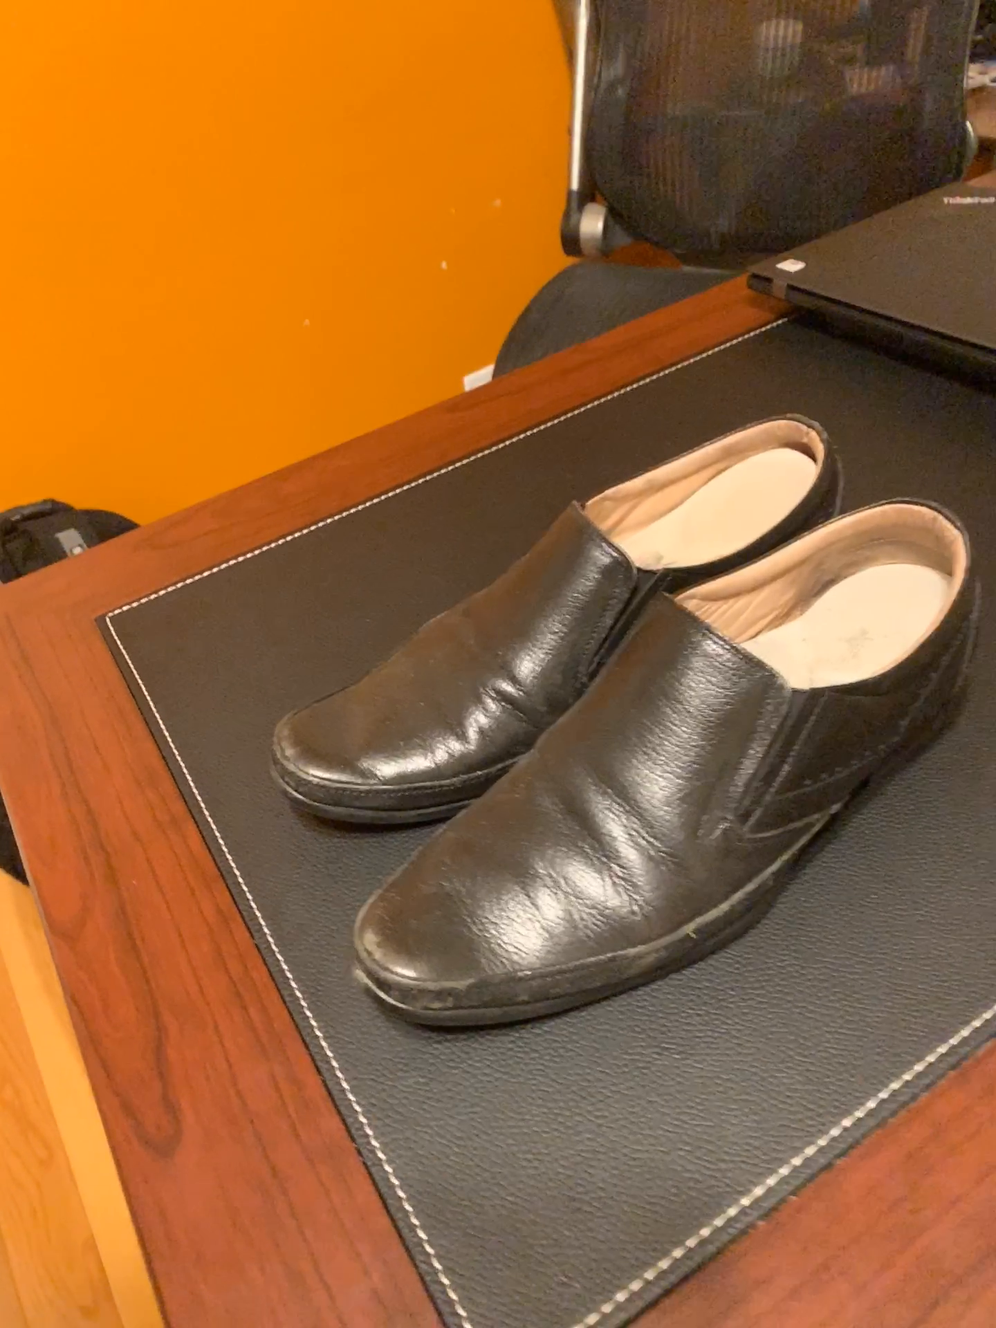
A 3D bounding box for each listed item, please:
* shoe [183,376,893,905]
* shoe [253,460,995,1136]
[{"bbox_3d":[0.024,-0.025,0.455,0.285,0.077,0.111,-27,45,-17],"label":"shoe"},{"bbox_3d":[0.070,0.032,0.377,0.285,0.077,0.106,-27,45,-17],"label":"shoe"}]
